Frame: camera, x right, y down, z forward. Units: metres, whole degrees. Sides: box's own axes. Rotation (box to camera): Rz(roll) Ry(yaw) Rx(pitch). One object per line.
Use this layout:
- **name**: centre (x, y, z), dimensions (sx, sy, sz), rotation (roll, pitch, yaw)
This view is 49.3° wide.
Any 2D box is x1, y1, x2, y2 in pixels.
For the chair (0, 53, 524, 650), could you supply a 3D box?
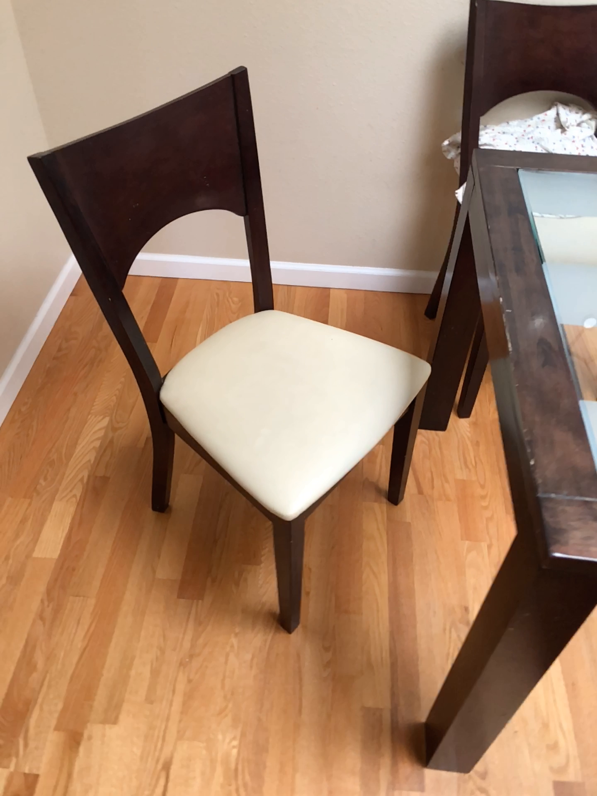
- **chair**: centre (-0.046, -0.082, 1.326), dimensions (0.571, 0.895, 0.592), rotation (29, 51, 24)
